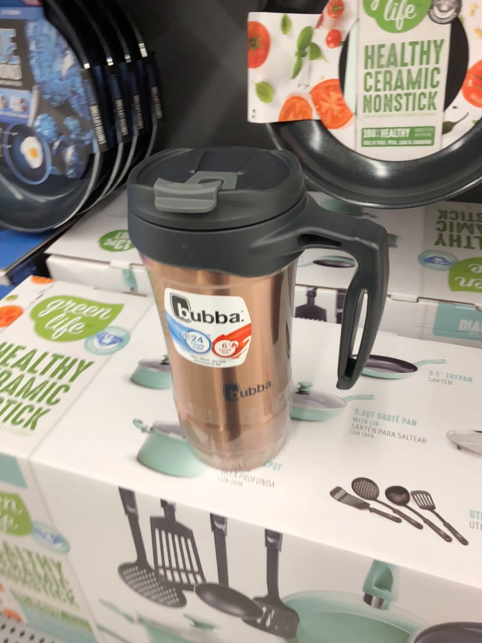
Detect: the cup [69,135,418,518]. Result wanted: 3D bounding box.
[{"bbox_3d":[0.012,0.002,0.310,0.143,0.182,0.094,10,40,19],"label":"cup"}]
